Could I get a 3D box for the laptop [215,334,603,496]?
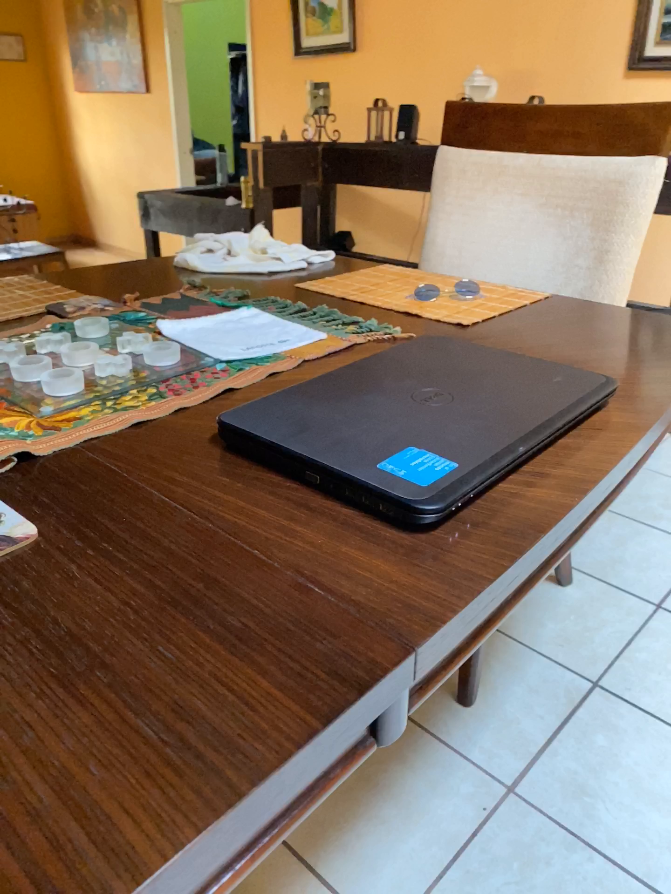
[{"bbox_3d":[0.090,-0.057,0.718,0.248,0.001,0.353,21,32,36],"label":"laptop"}]
